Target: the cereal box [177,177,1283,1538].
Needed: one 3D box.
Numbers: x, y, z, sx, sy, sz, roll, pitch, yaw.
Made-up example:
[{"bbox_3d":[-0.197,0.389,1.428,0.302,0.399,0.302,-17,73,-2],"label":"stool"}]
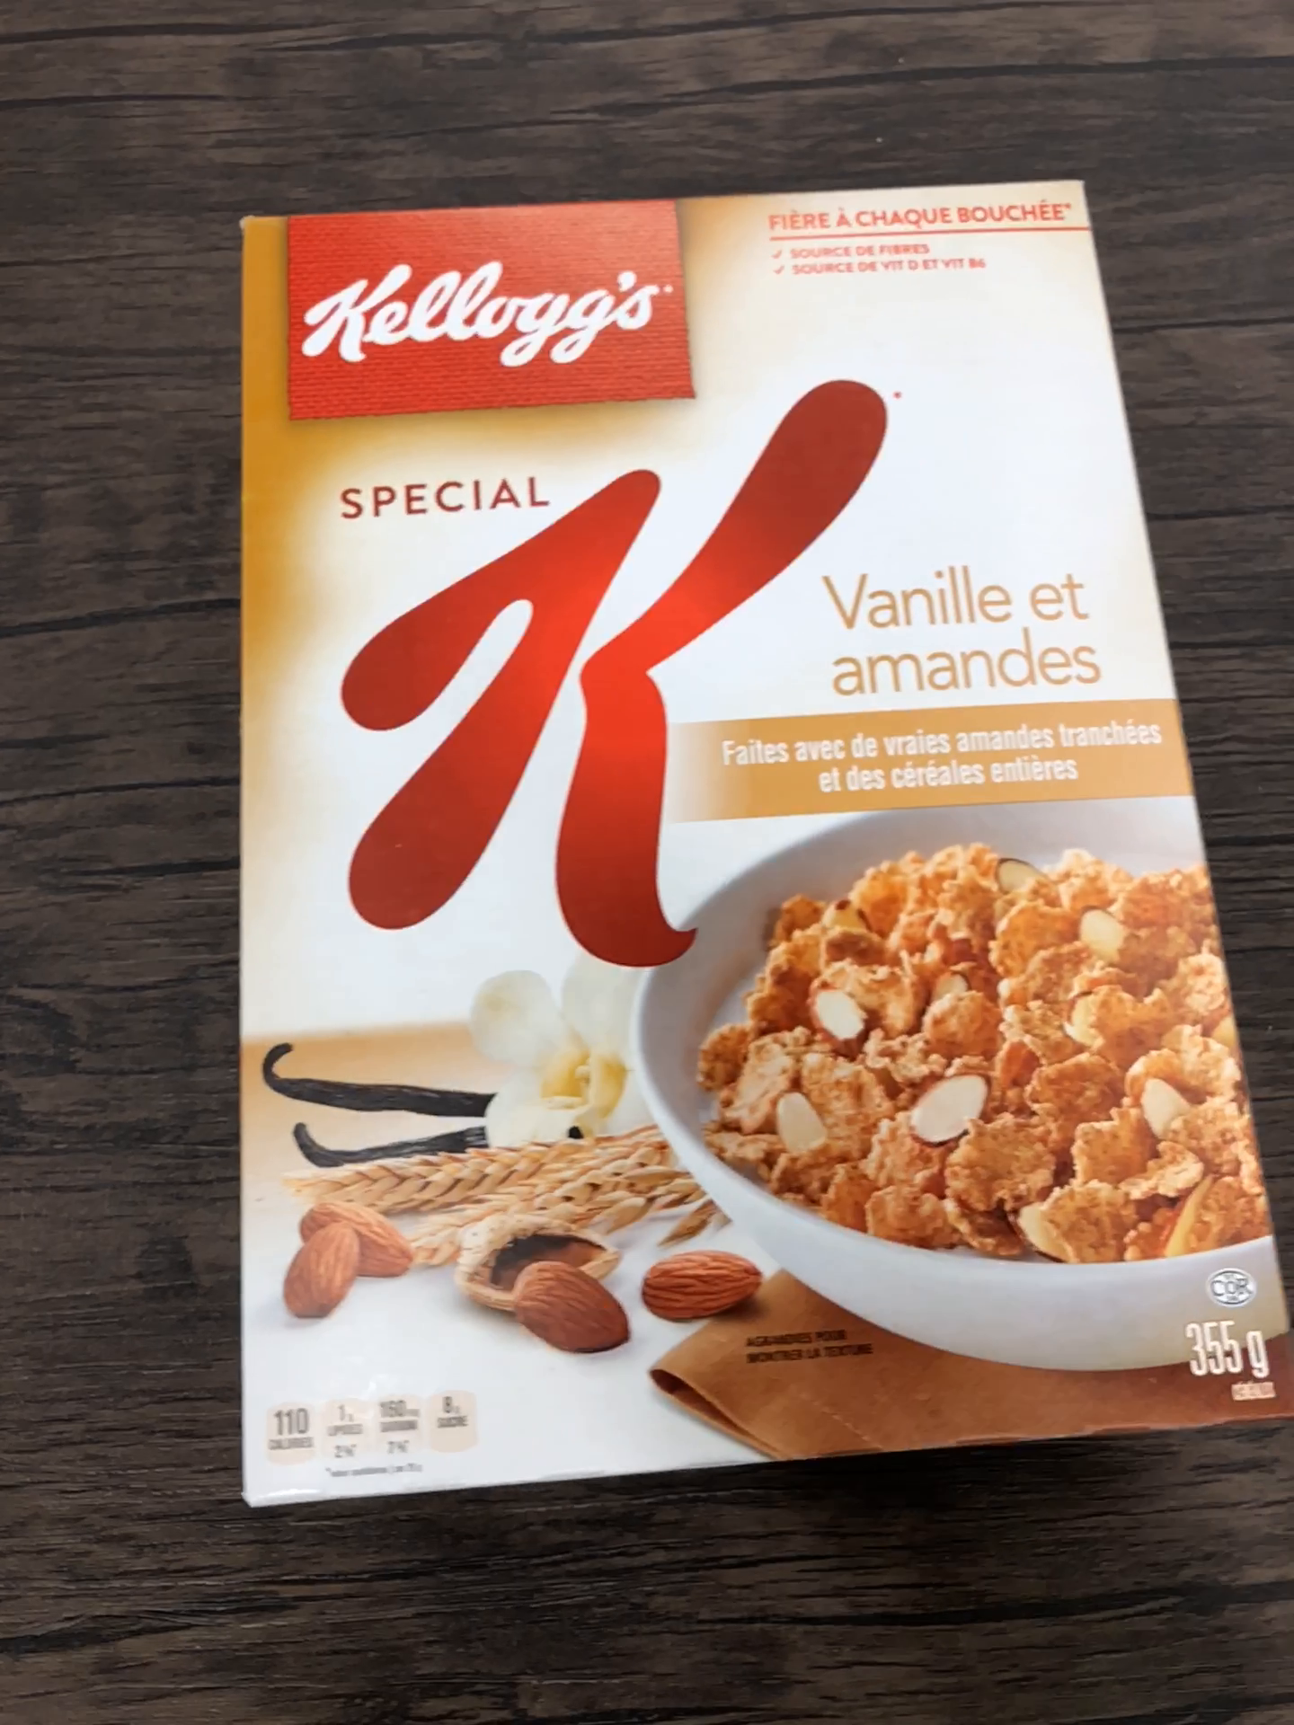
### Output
[{"bbox_3d":[0.007,-0.011,0.320,0.200,0.060,0.270,-3,77,-3],"label":"cereal box"}]
